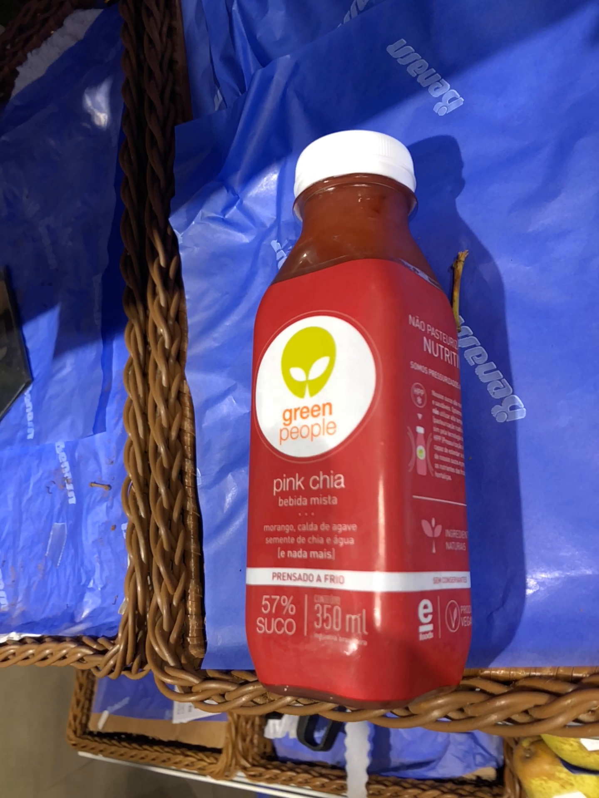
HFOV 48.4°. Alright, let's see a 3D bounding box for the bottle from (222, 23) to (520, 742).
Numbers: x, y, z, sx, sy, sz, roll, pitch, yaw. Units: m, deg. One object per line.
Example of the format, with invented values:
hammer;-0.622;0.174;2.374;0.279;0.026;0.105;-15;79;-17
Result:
bottle;0.024;-0.007;0.211;0.060;0.060;0.190;-10;72;40
